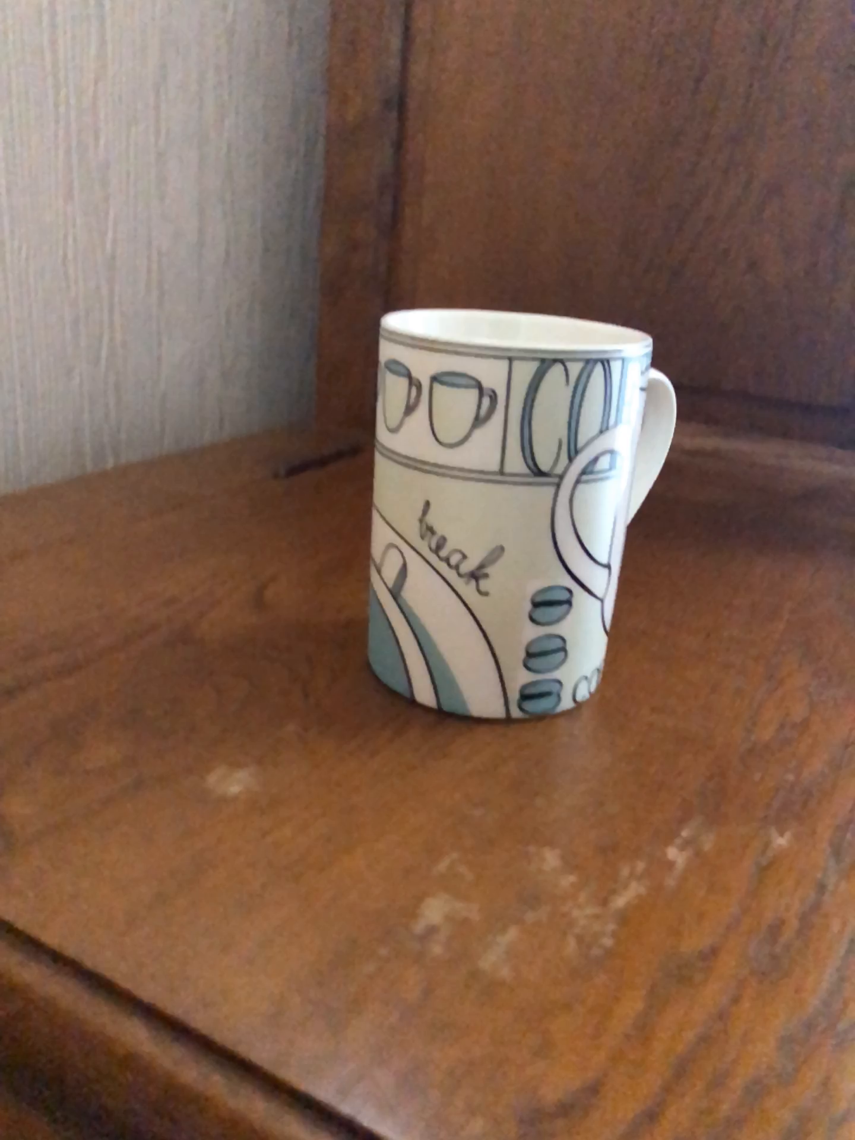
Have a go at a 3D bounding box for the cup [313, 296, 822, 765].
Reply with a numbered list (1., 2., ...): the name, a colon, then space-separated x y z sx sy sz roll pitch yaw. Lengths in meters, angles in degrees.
1. cup: 0.041 -0.024 0.277 0.080 0.100 0.121 22 26 40
